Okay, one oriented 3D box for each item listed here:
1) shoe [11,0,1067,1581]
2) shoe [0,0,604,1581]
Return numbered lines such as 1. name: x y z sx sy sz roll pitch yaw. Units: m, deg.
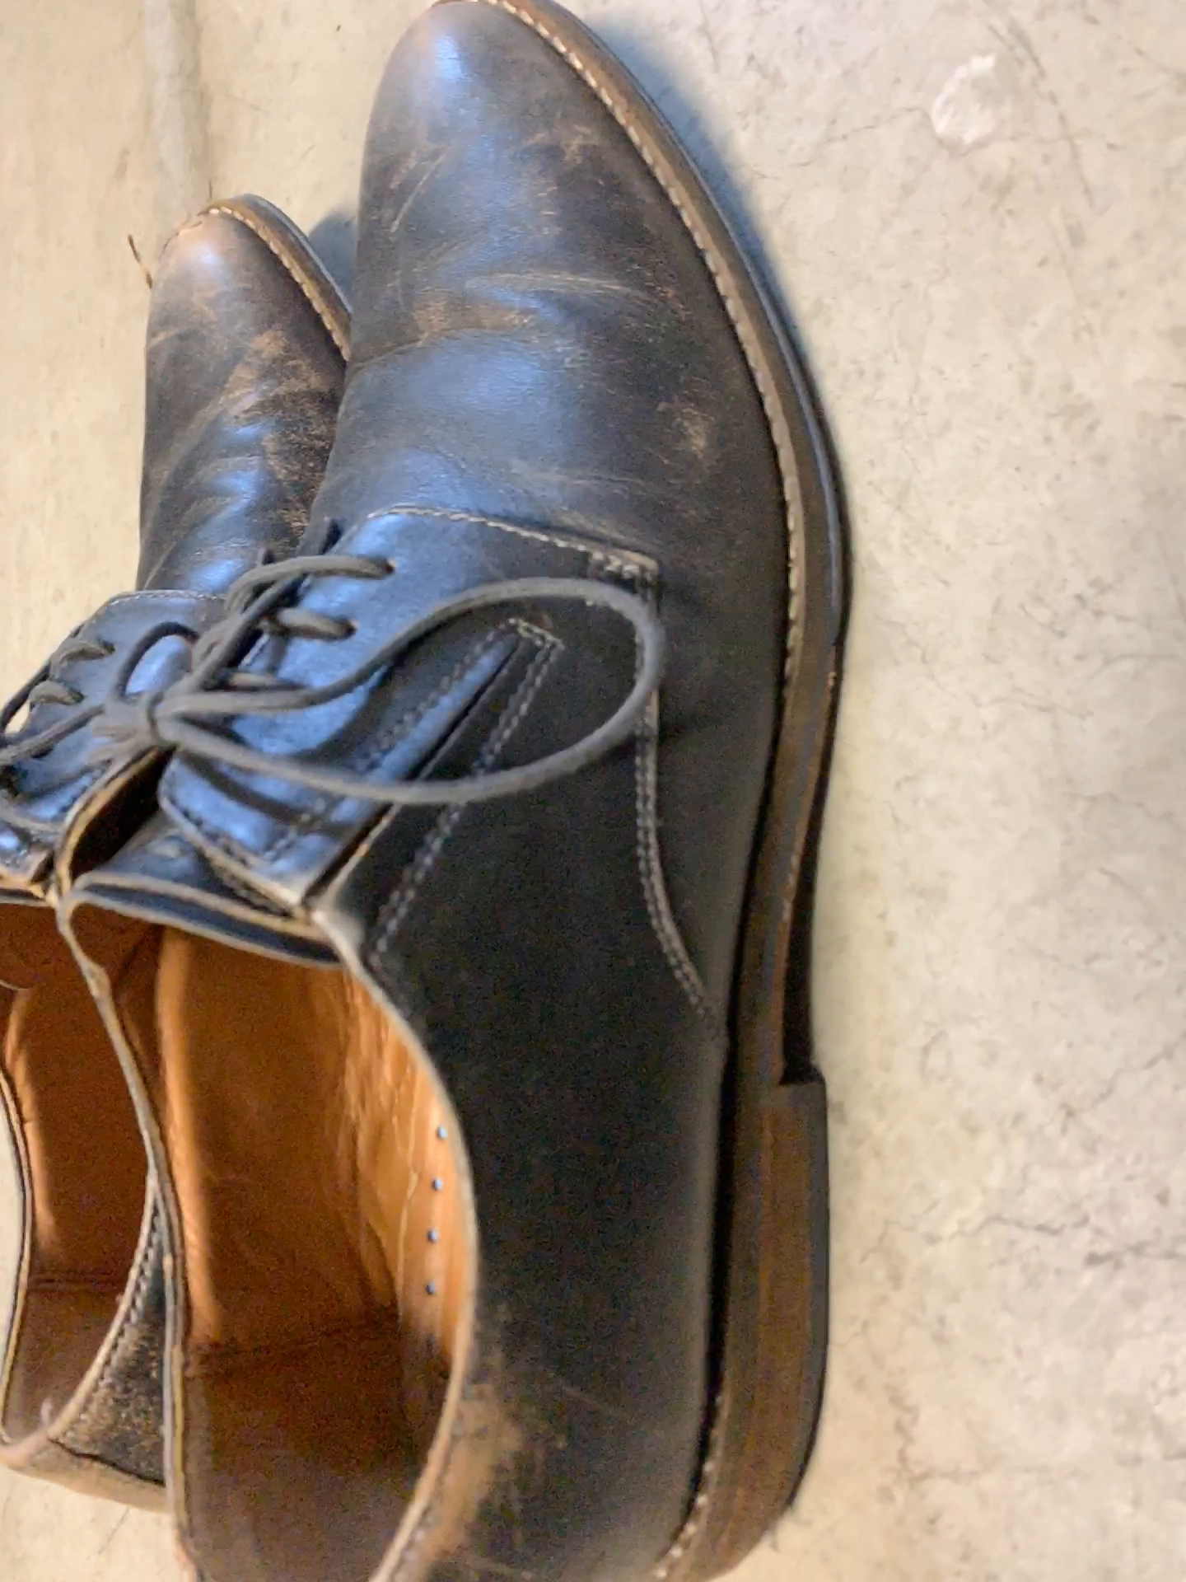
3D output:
1. shoe: -0.020 -0.022 0.218 0.111 0.119 0.304 -16 74 43
2. shoe: -0.095 -0.011 0.296 0.111 0.119 0.310 -18 73 43
